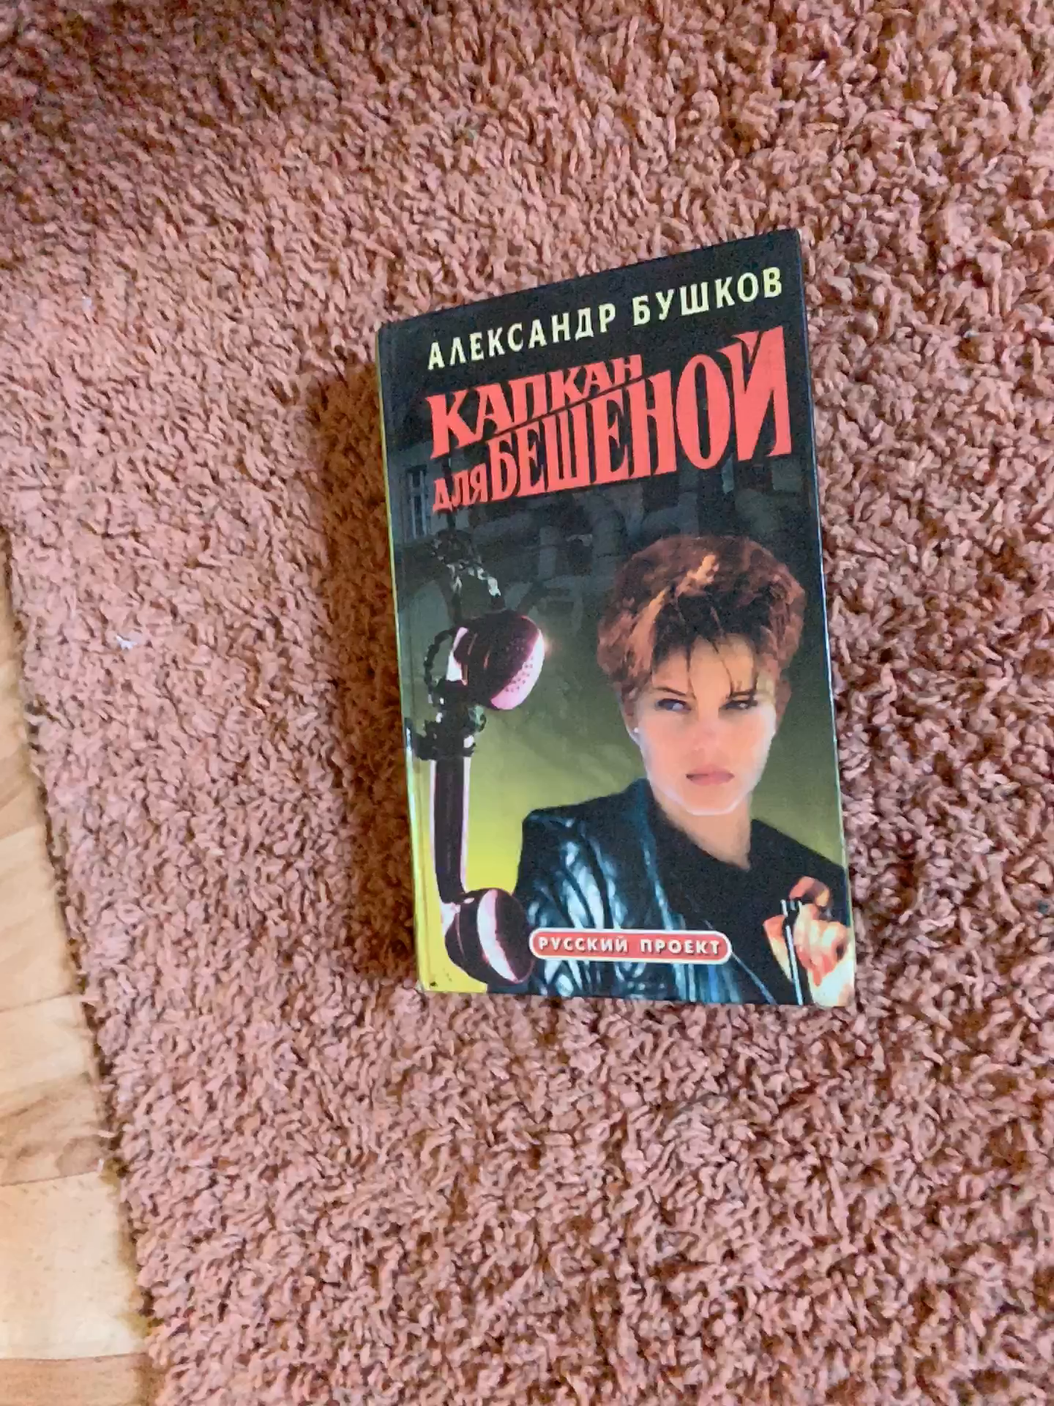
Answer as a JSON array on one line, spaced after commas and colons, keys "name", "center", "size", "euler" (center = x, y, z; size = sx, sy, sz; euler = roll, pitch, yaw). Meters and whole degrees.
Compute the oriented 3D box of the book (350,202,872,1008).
[{"name": "book", "center": [0.019, -0.019, 0.292], "size": [0.125, 0.027, 0.190], "euler": [-5, 89, 24]}]
